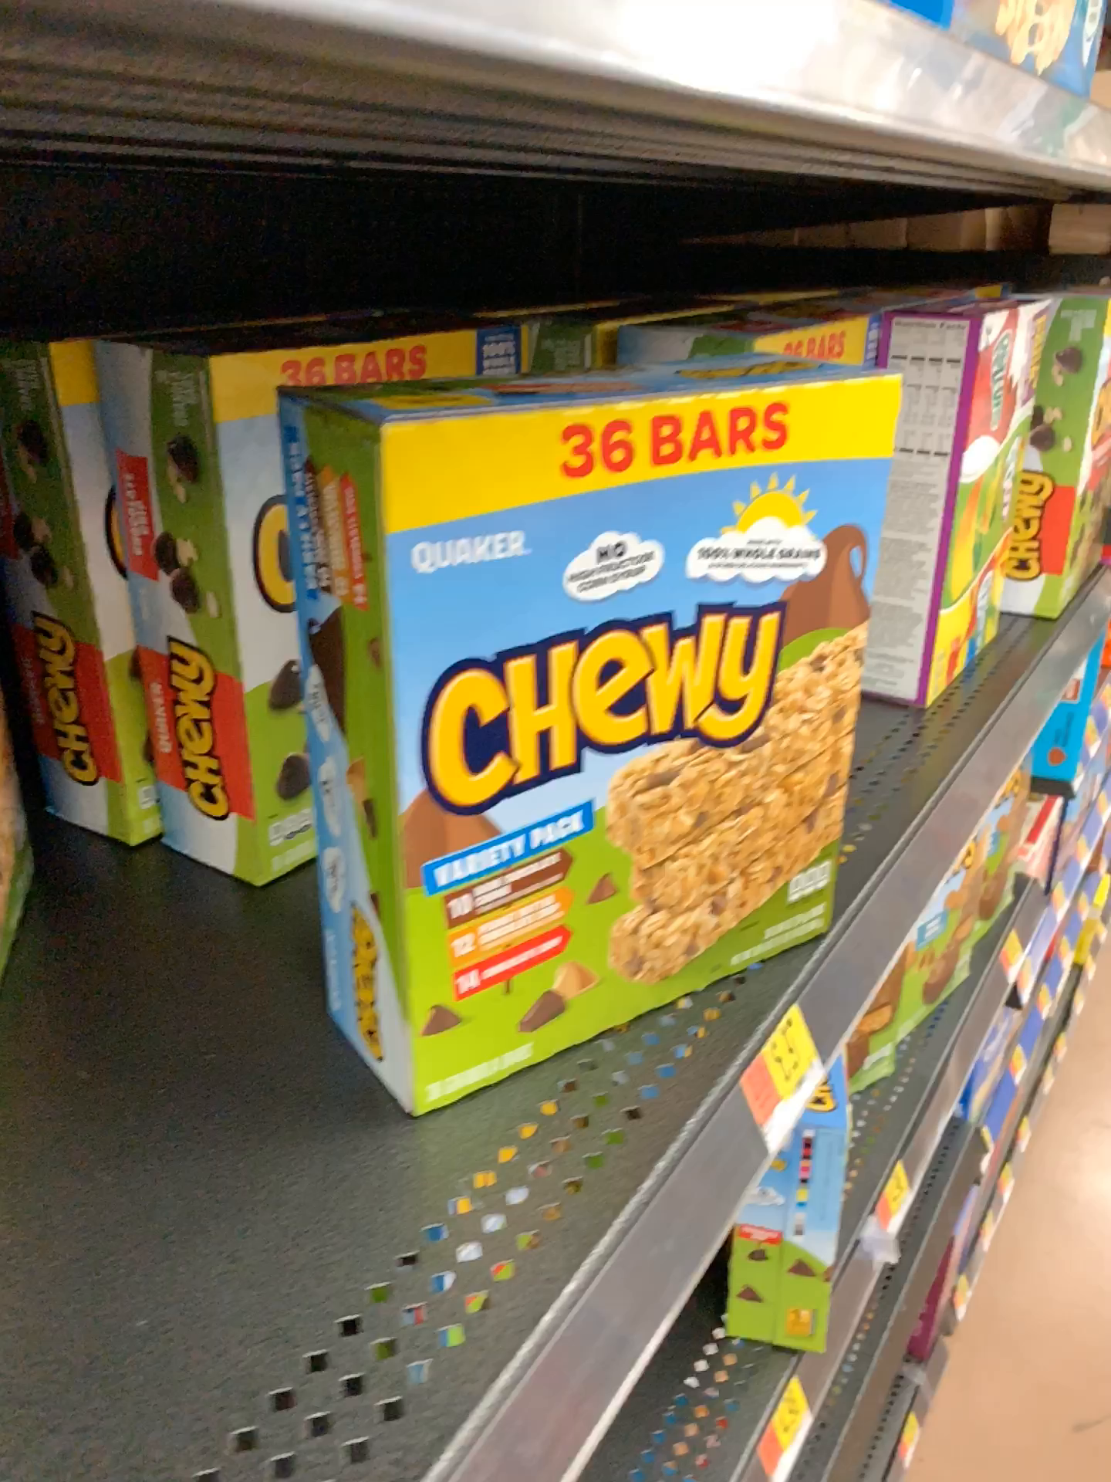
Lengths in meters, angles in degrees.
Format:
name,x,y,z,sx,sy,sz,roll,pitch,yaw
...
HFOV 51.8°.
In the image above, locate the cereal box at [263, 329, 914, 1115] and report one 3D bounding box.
name,x,y,z,sx,sy,sz,roll,pitch,yaw
cereal box,0.016,-0.018,0.403,0.200,0.229,0.070,-14,28,-31
